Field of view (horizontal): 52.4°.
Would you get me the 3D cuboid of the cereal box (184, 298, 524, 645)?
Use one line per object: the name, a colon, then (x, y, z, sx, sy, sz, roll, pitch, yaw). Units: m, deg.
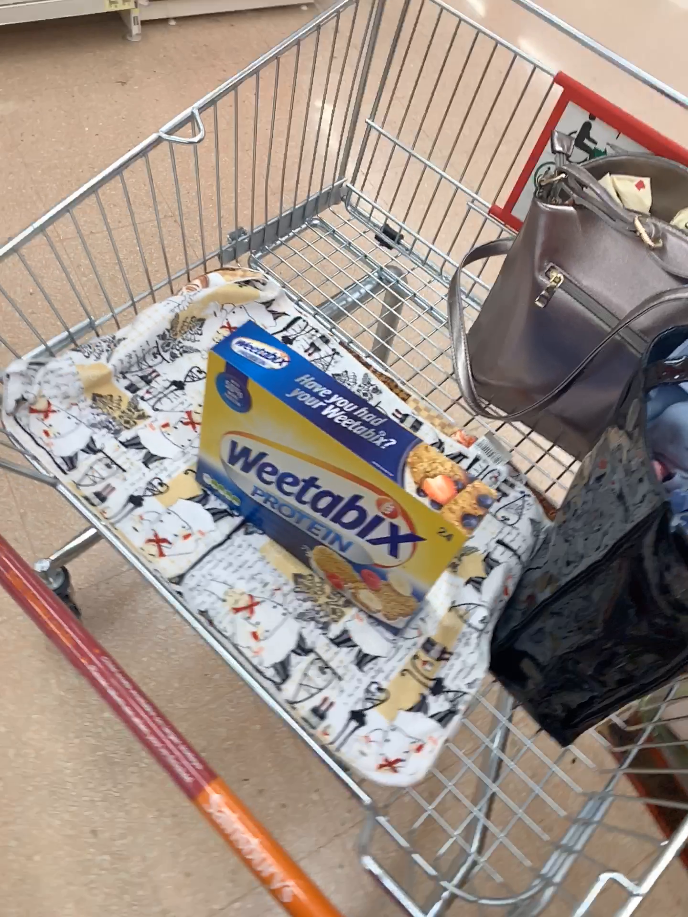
cereal box: (-0.012, 0.020, 0.599, 0.260, 0.199, 0.060, 35, 52, 11)
